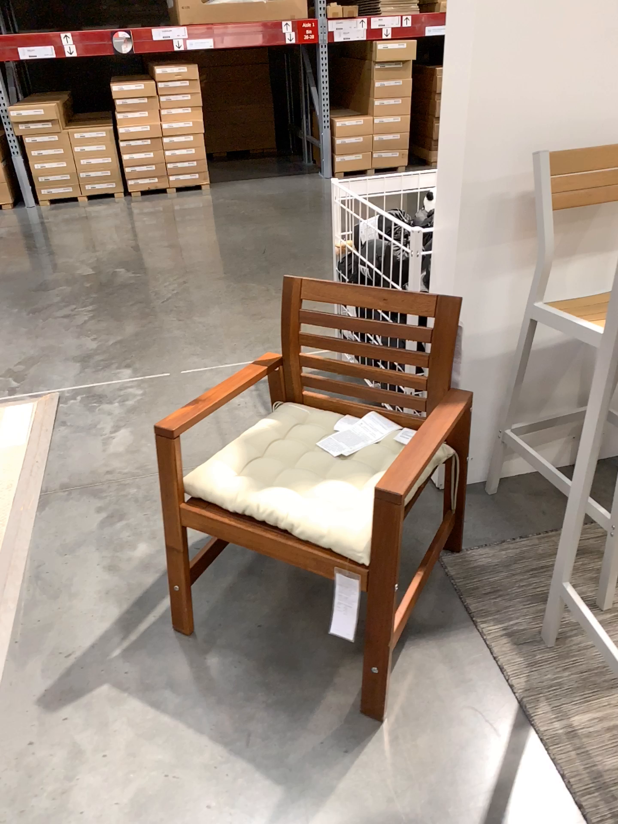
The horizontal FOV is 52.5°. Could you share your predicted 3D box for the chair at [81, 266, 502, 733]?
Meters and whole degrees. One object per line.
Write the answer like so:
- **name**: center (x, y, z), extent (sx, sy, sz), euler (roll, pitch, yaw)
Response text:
- **chair**: center (0.026, 0.131, 1.537), extent (0.651, 0.706, 0.723), euler (12, 35, 24)
